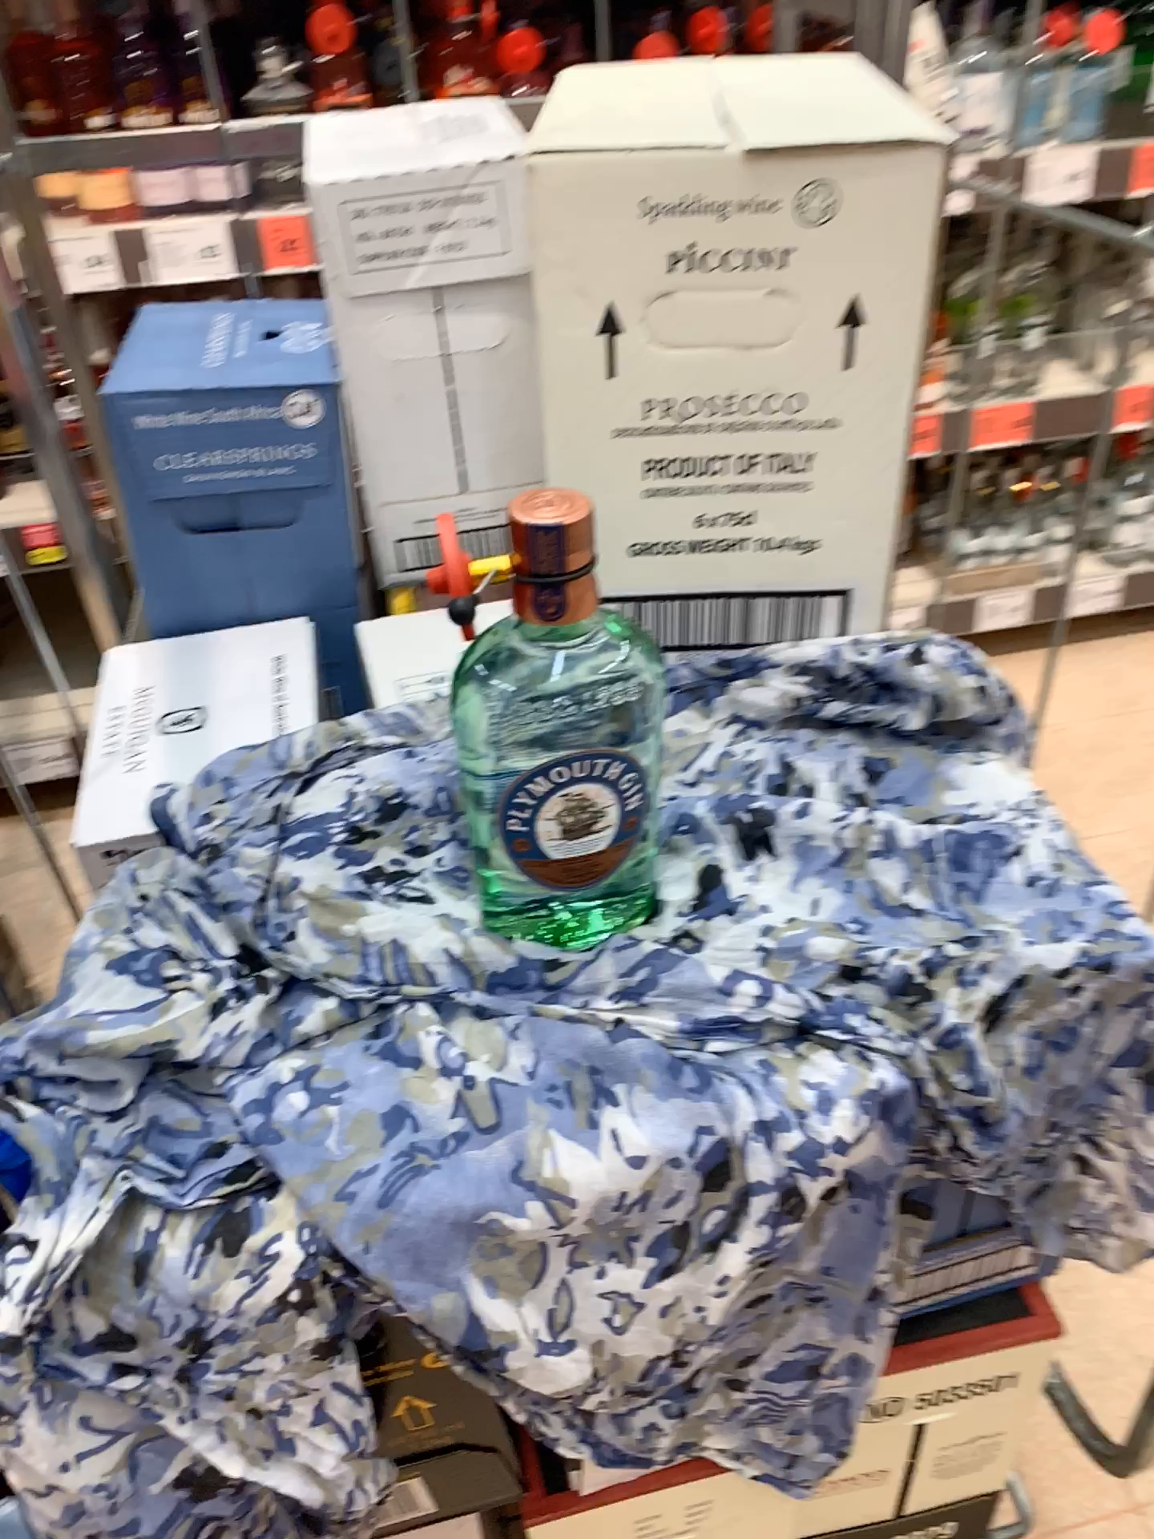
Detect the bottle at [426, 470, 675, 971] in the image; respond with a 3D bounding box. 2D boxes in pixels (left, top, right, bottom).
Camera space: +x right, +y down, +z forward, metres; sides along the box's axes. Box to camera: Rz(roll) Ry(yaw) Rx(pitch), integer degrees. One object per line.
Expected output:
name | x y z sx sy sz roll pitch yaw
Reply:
bottle | -0.008 -0.015 0.556 0.094 0.228 0.058 -9 36 -8
